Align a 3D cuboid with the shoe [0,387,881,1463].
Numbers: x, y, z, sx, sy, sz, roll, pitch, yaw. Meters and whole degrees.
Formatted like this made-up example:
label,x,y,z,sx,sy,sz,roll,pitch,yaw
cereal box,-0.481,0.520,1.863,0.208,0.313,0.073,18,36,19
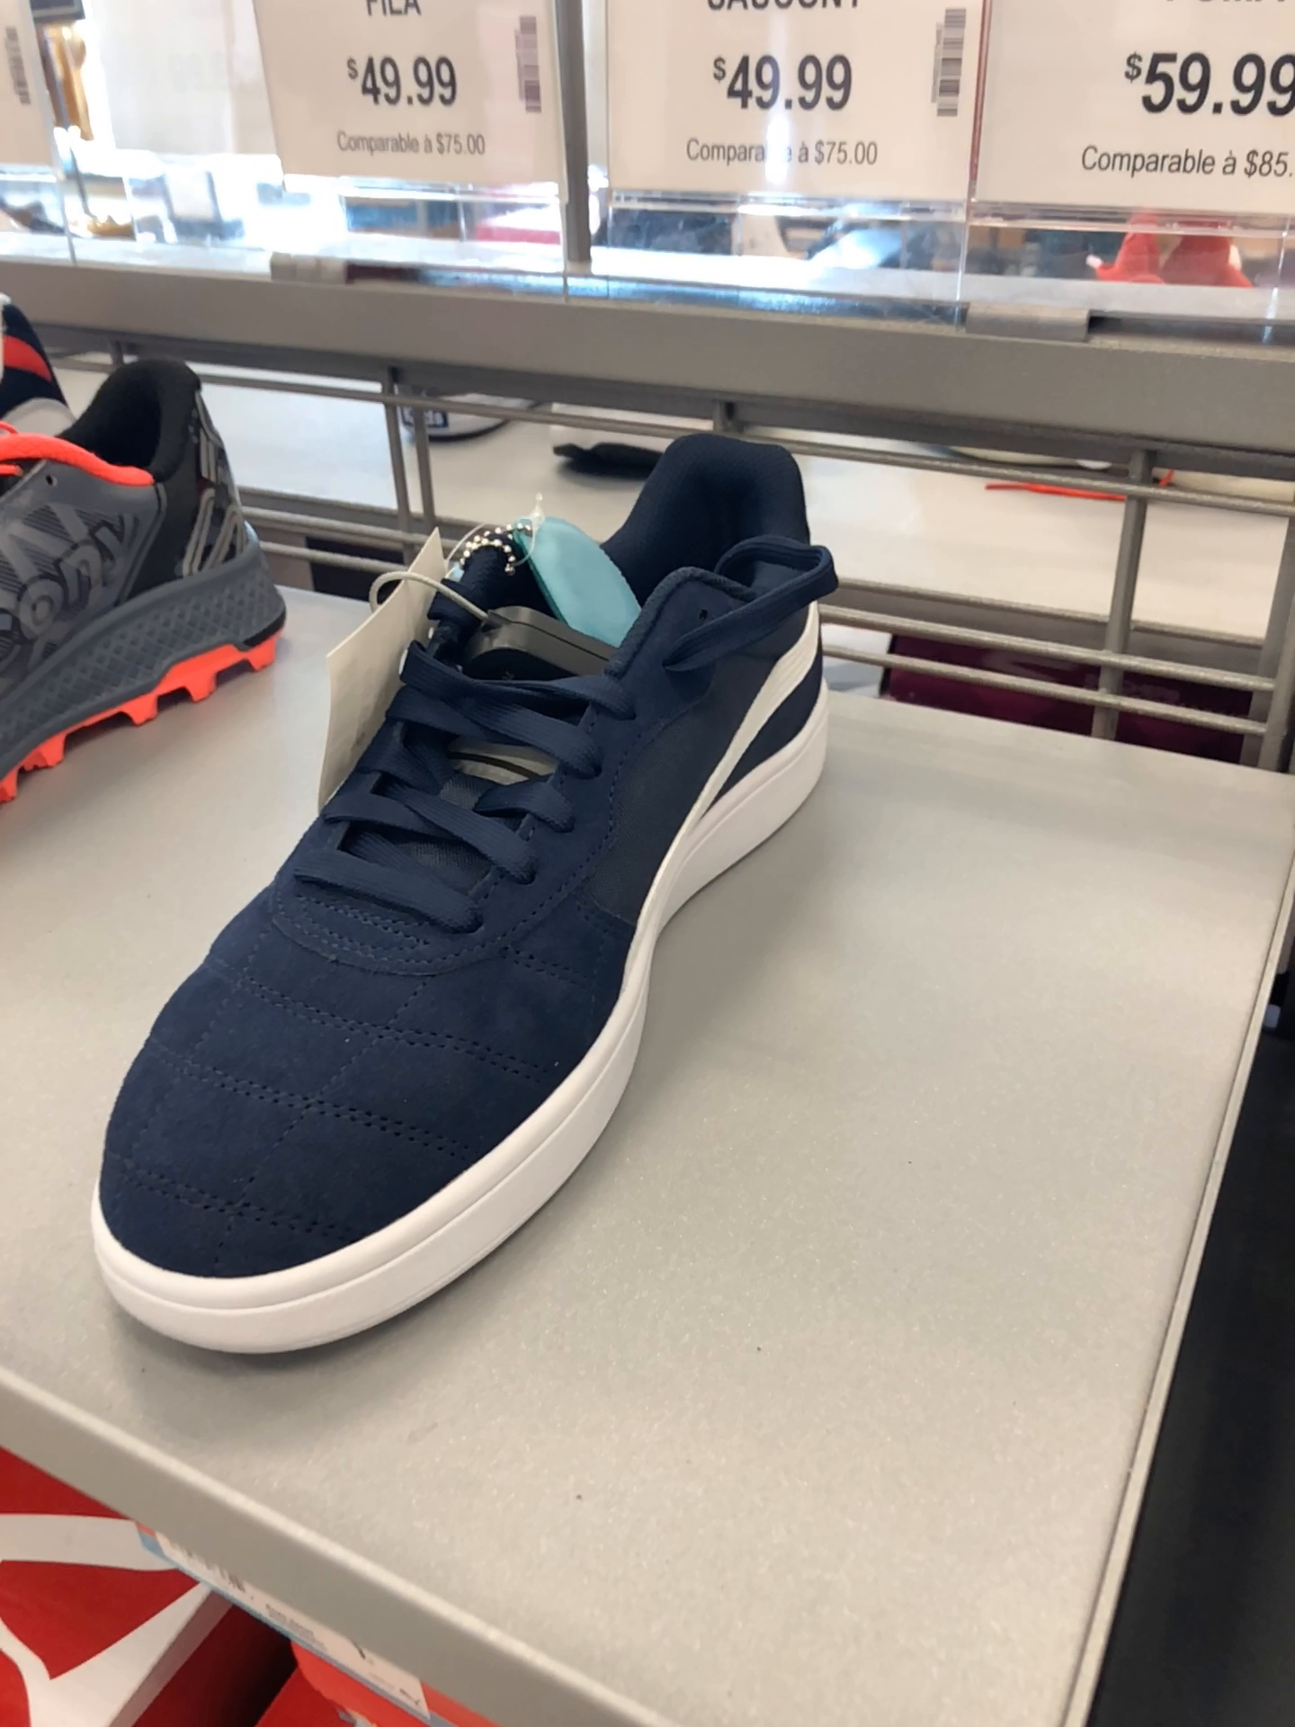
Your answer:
label,x,y,z,sx,sy,sz,roll,pitch,yaw
shoe,-0.045,-0.017,0.335,0.119,0.119,0.242,13,34,23
